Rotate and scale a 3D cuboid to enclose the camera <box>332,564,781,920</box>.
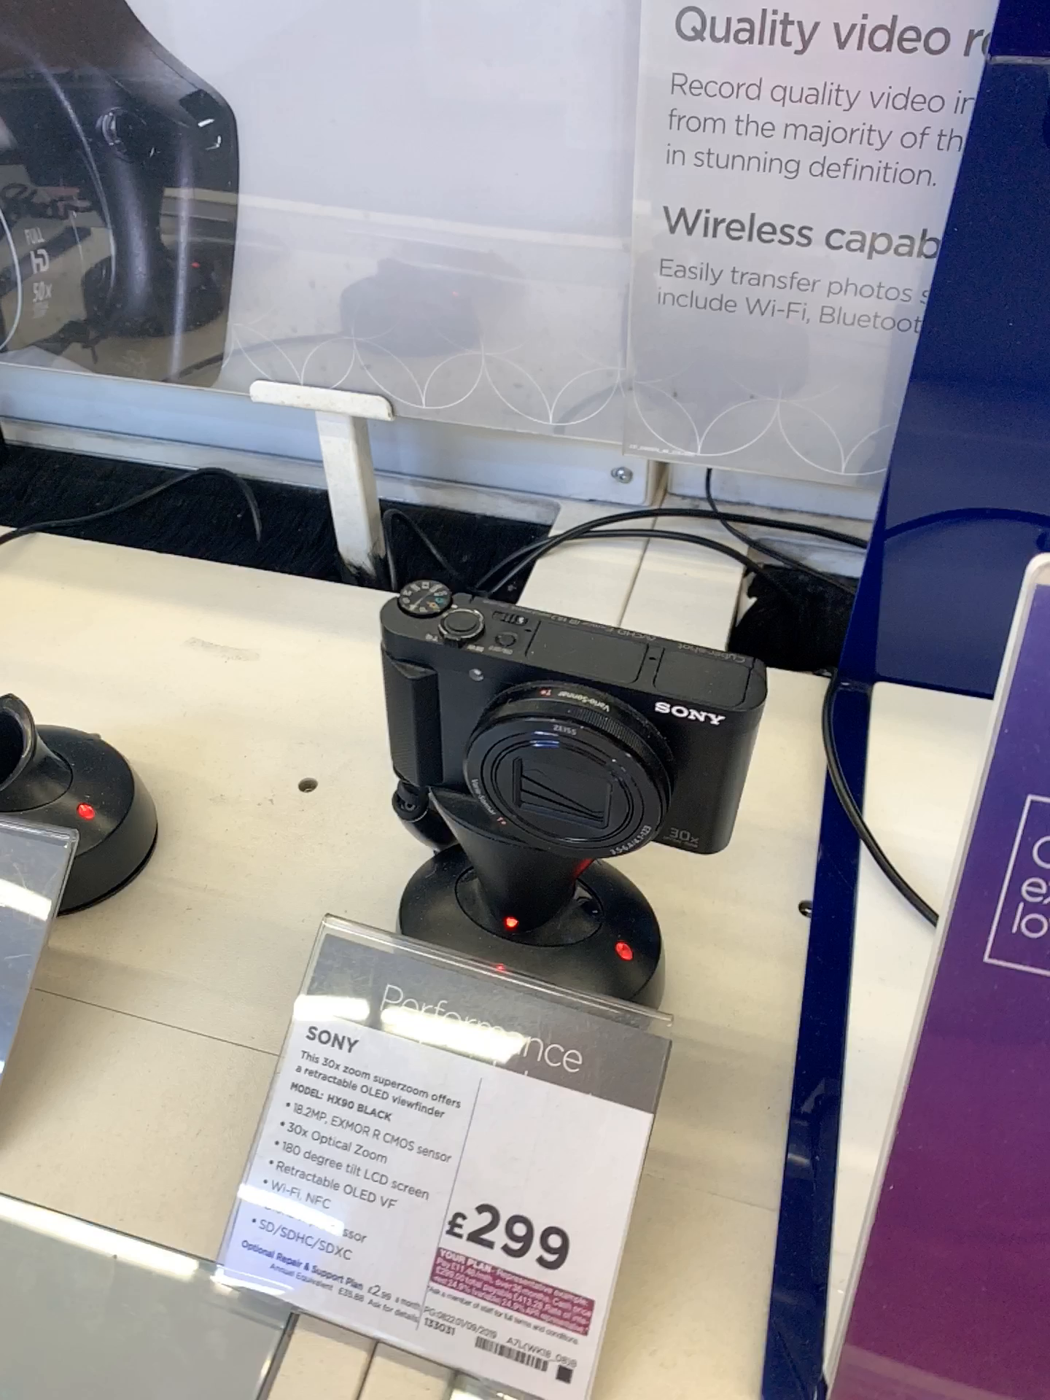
[{"bbox_3d":[0.008,0.010,0.279,0.100,0.059,0.040,13,46,12],"label":"camera"}]
